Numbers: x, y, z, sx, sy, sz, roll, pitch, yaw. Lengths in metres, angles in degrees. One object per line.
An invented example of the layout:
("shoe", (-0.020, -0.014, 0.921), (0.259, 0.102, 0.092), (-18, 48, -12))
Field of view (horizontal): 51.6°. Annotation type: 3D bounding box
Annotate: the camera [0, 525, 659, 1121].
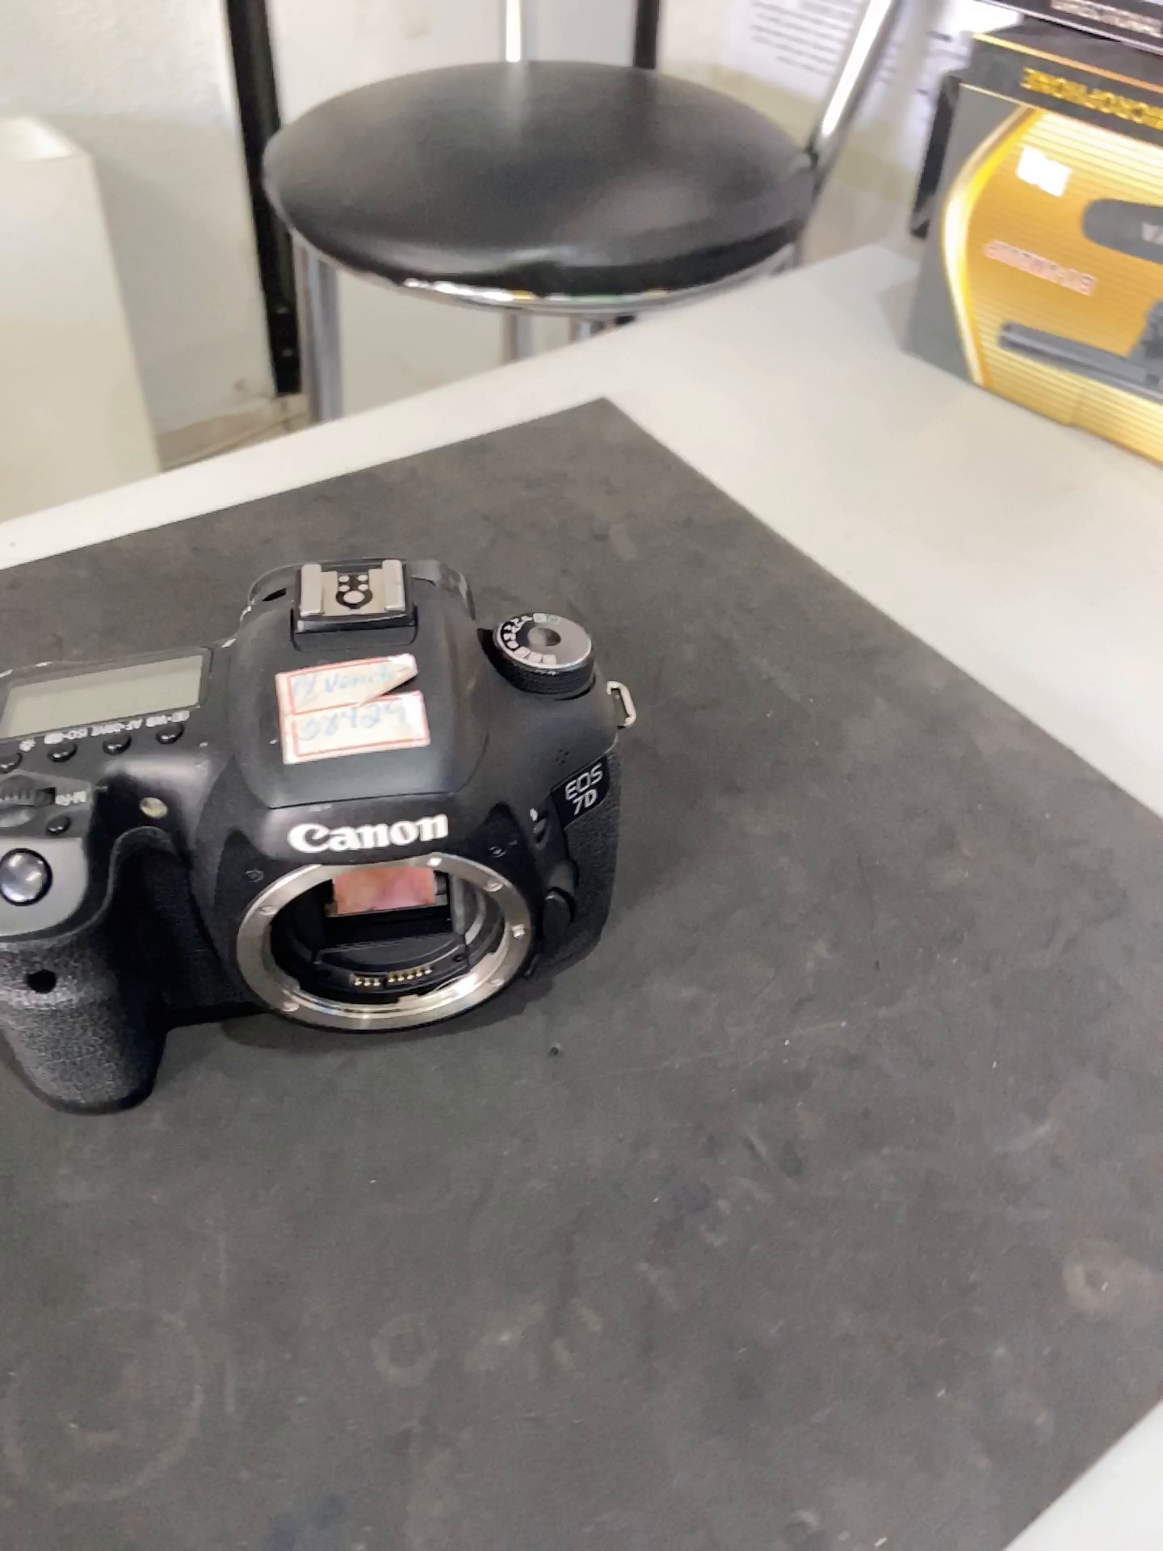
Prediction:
("camera", (-0.068, 0.010, 0.299), (0.152, 0.101, 0.083), (-7, 45, -10))
